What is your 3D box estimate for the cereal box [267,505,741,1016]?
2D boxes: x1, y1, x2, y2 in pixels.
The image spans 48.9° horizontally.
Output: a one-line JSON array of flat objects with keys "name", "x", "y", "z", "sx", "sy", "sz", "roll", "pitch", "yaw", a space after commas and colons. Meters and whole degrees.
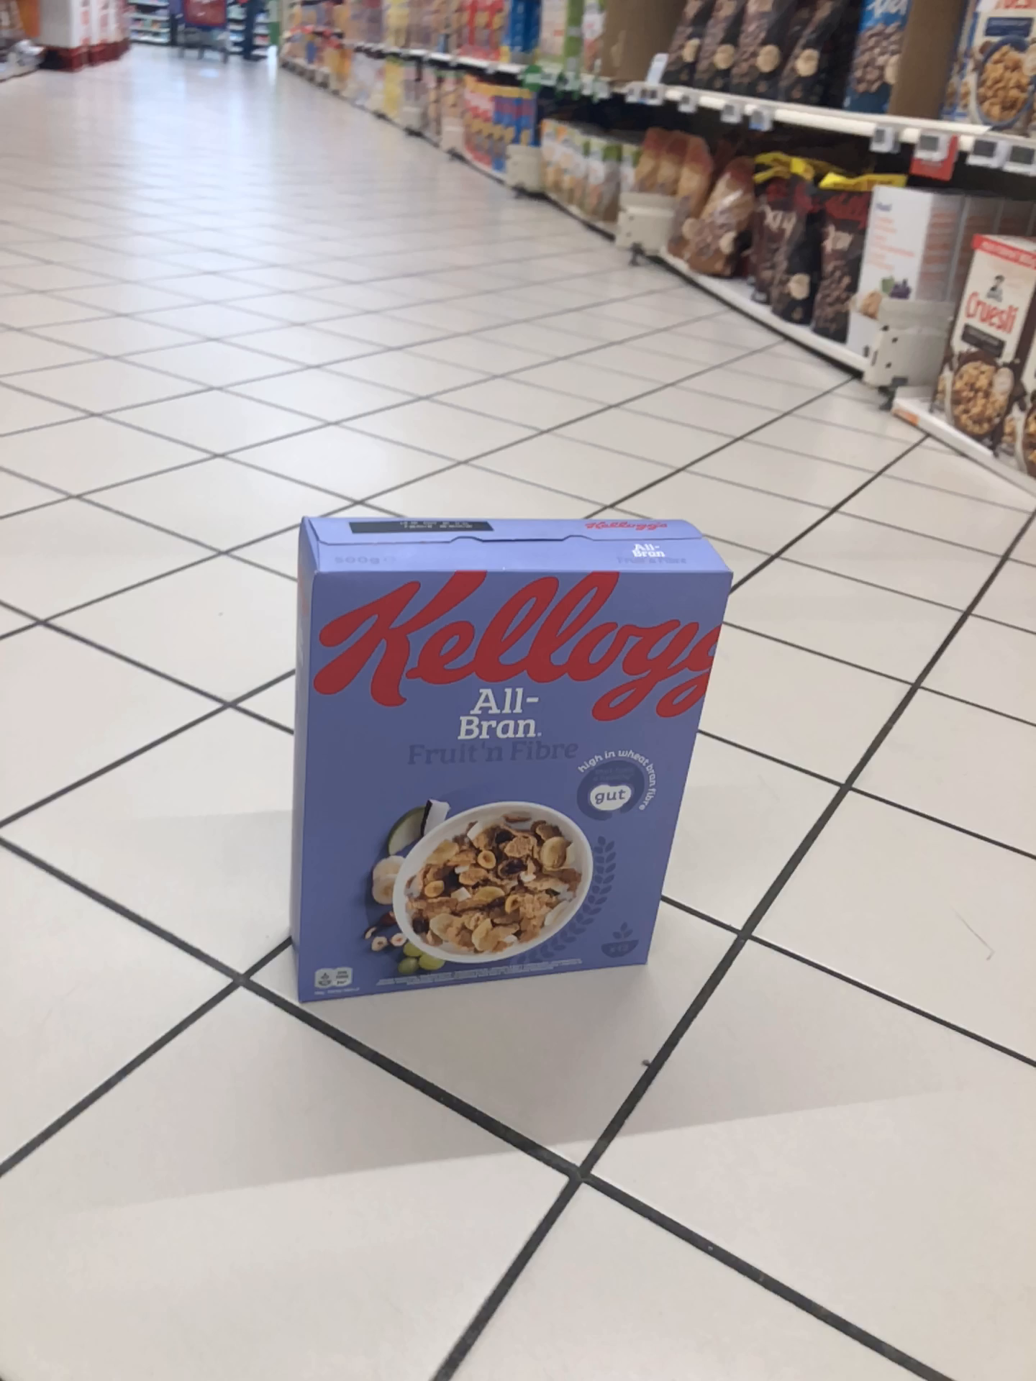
[{"name": "cereal box", "x": -0.019, "y": 0.036, "z": 0.564, "sx": 0.200, "sy": 0.239, "sz": 0.070, "roll": -1, "pitch": 29, "yaw": -16}]
